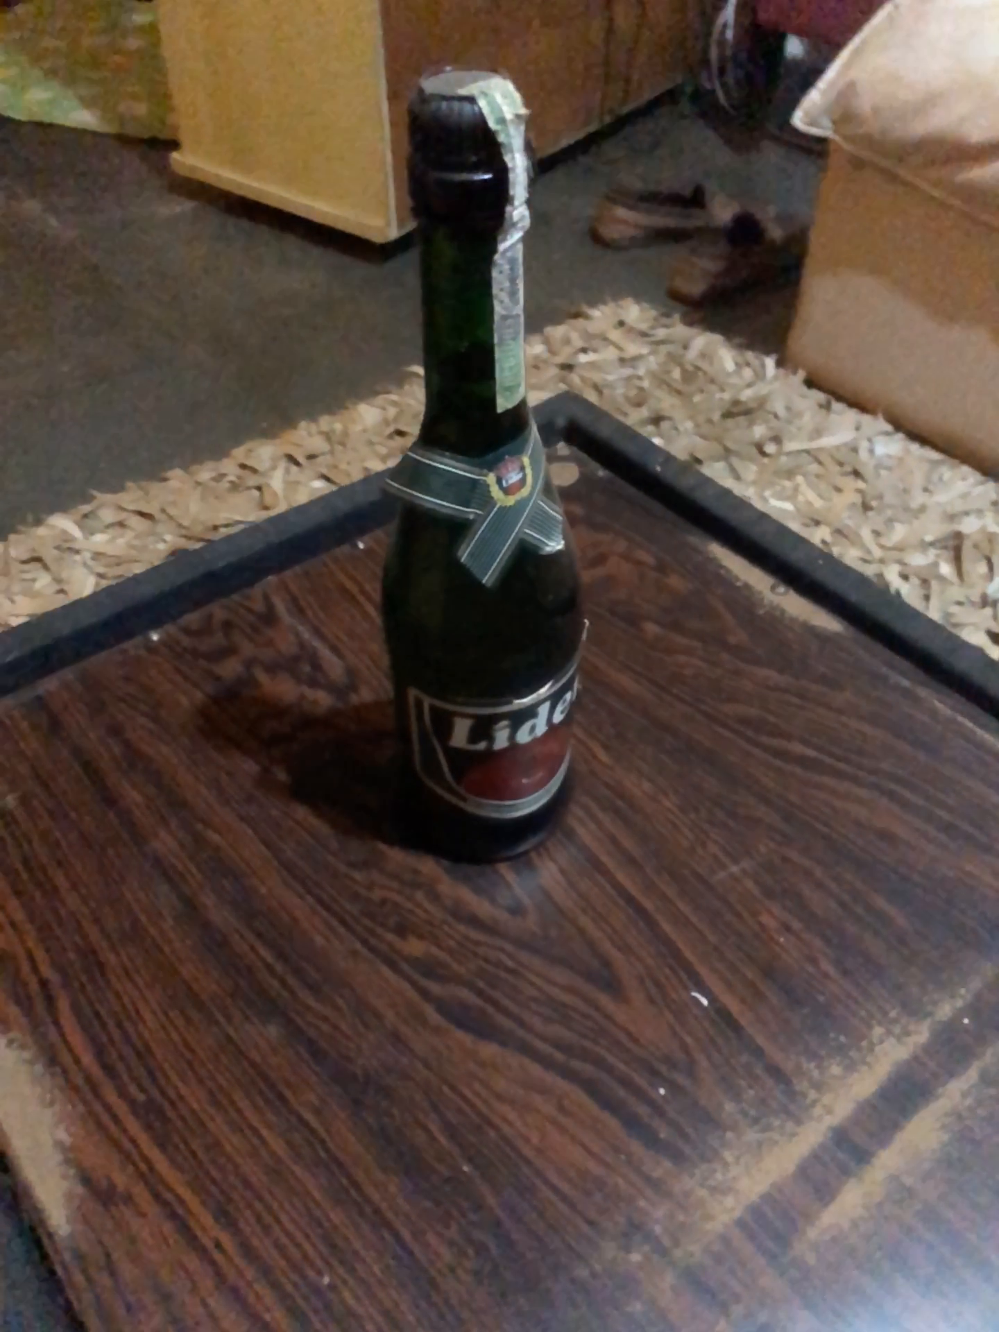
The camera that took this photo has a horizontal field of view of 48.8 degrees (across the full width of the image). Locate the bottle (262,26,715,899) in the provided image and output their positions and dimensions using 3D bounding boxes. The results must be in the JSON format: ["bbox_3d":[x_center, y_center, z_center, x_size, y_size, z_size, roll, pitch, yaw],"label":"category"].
[{"bbox_3d":[-0.003,-0.049,0.391,0.090,0.288,0.080,-26,50,-24],"label":"bottle"}]
